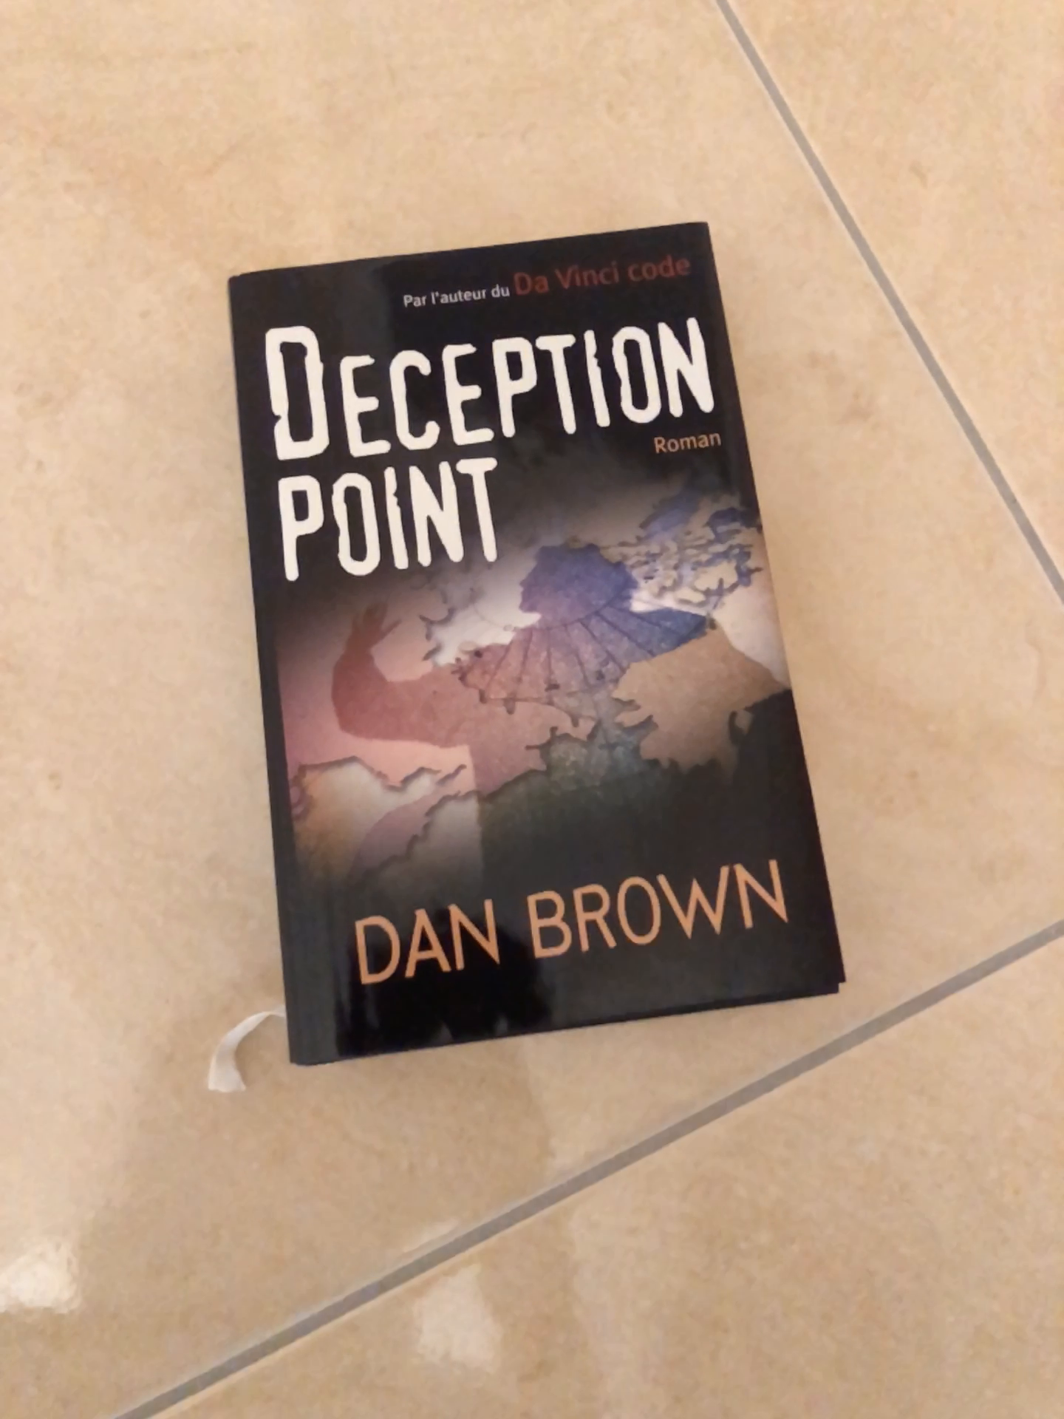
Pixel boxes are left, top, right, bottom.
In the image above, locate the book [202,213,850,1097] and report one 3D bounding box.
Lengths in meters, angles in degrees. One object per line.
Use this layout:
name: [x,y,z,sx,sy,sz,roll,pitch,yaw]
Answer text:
book: [-0.007,-0.019,0.310,0.136,0.037,0.212,-7,78,-2]
